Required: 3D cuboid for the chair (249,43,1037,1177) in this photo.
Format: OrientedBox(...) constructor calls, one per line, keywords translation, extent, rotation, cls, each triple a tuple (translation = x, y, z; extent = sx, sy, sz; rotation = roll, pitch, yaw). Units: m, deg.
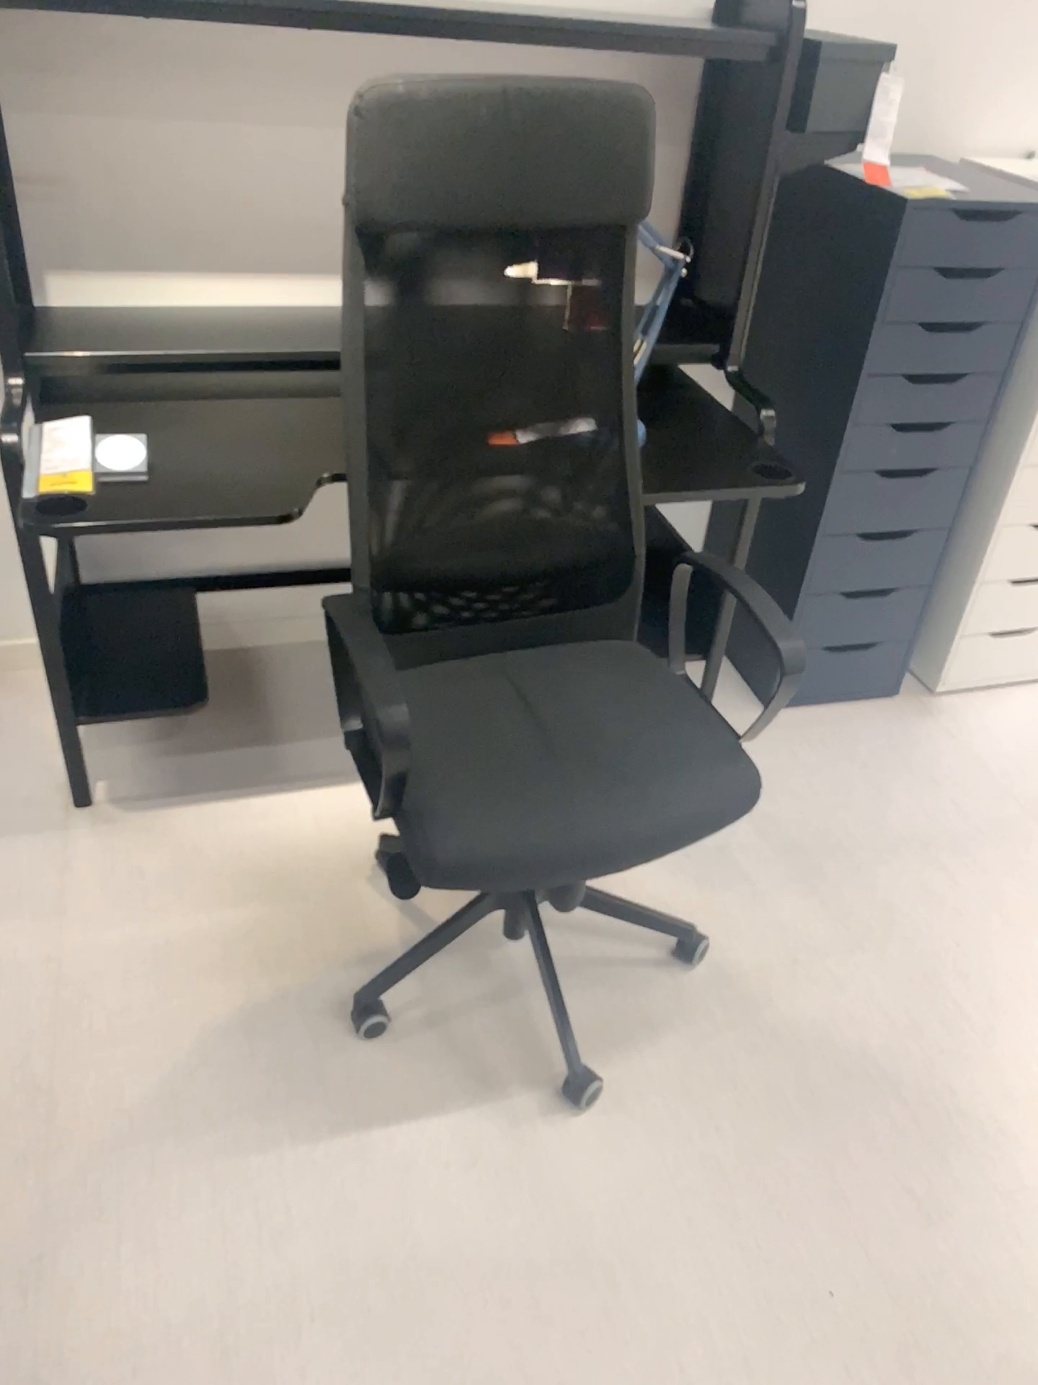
OrientedBox(translation=(0.056, -0.106, 1.455), extent=(0.640, 1.244, 0.713), rotation=(-9, 37, -20), cls="chair")
